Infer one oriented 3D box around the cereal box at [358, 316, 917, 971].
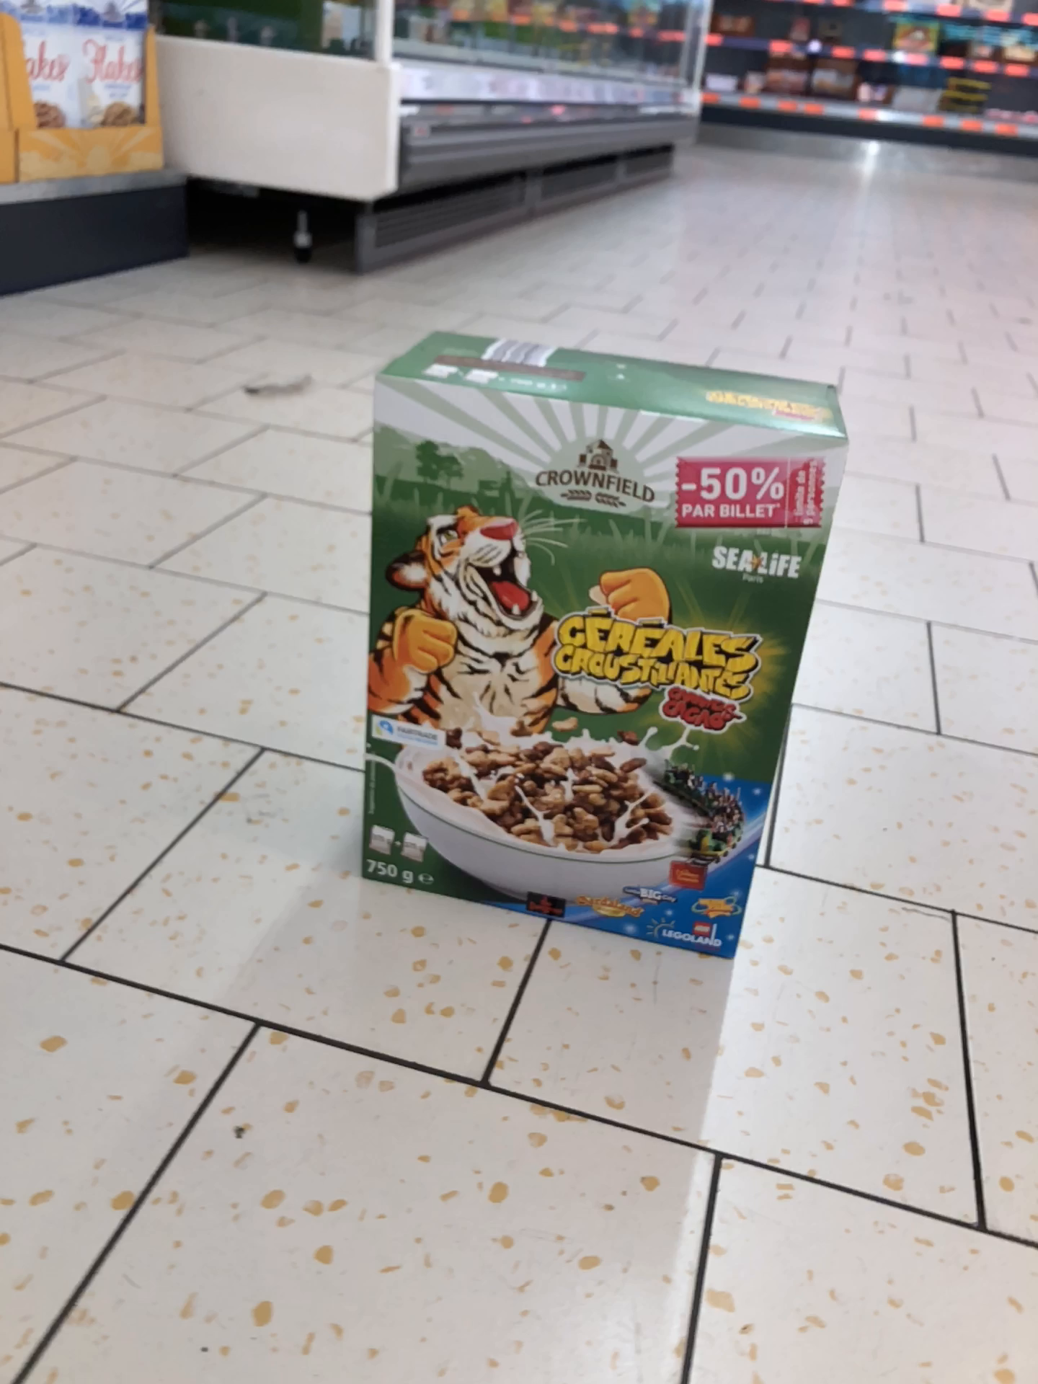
[{"bbox_3d":[0.045,-0.024,0.551,0.210,0.258,0.111,10,27,7],"label":"cereal box"}]
